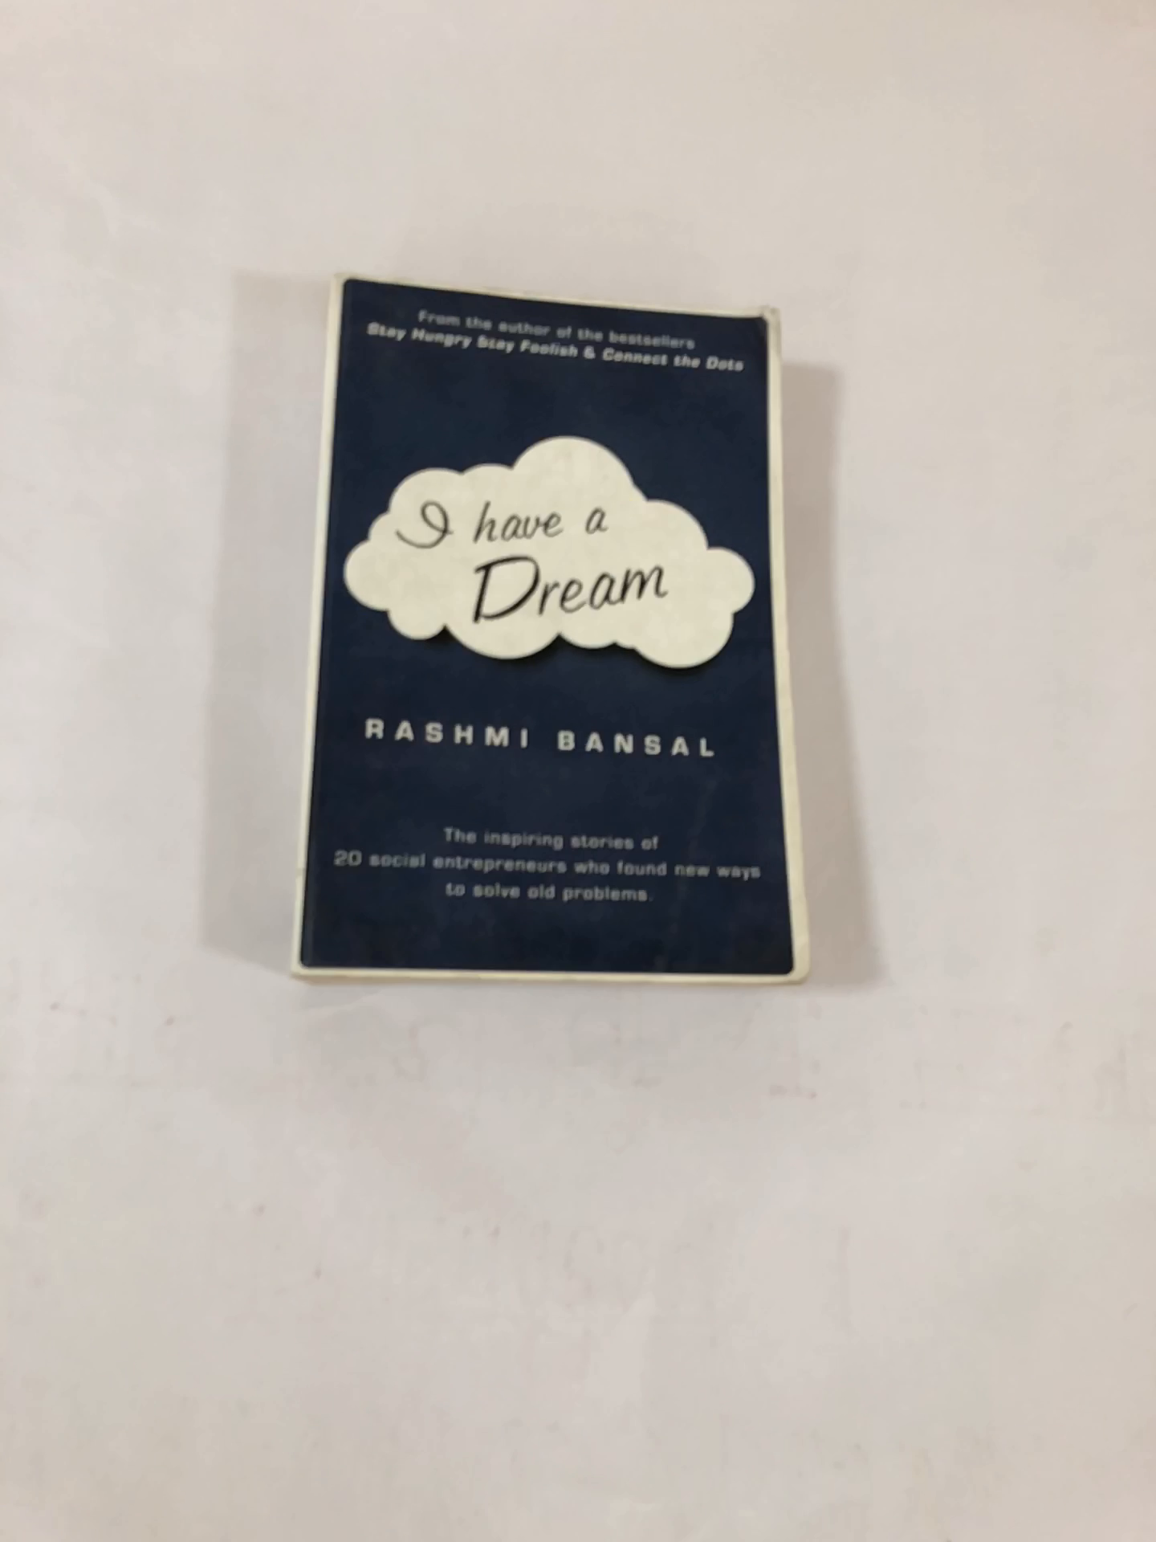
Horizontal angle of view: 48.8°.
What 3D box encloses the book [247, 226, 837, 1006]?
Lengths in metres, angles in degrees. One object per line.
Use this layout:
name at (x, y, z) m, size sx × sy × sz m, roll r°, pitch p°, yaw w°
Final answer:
book at (-0.008, -0.042, 0.340) m, size 0.140 × 0.030 × 0.200 m, roll 3°, pitch 74°, yaw -10°
